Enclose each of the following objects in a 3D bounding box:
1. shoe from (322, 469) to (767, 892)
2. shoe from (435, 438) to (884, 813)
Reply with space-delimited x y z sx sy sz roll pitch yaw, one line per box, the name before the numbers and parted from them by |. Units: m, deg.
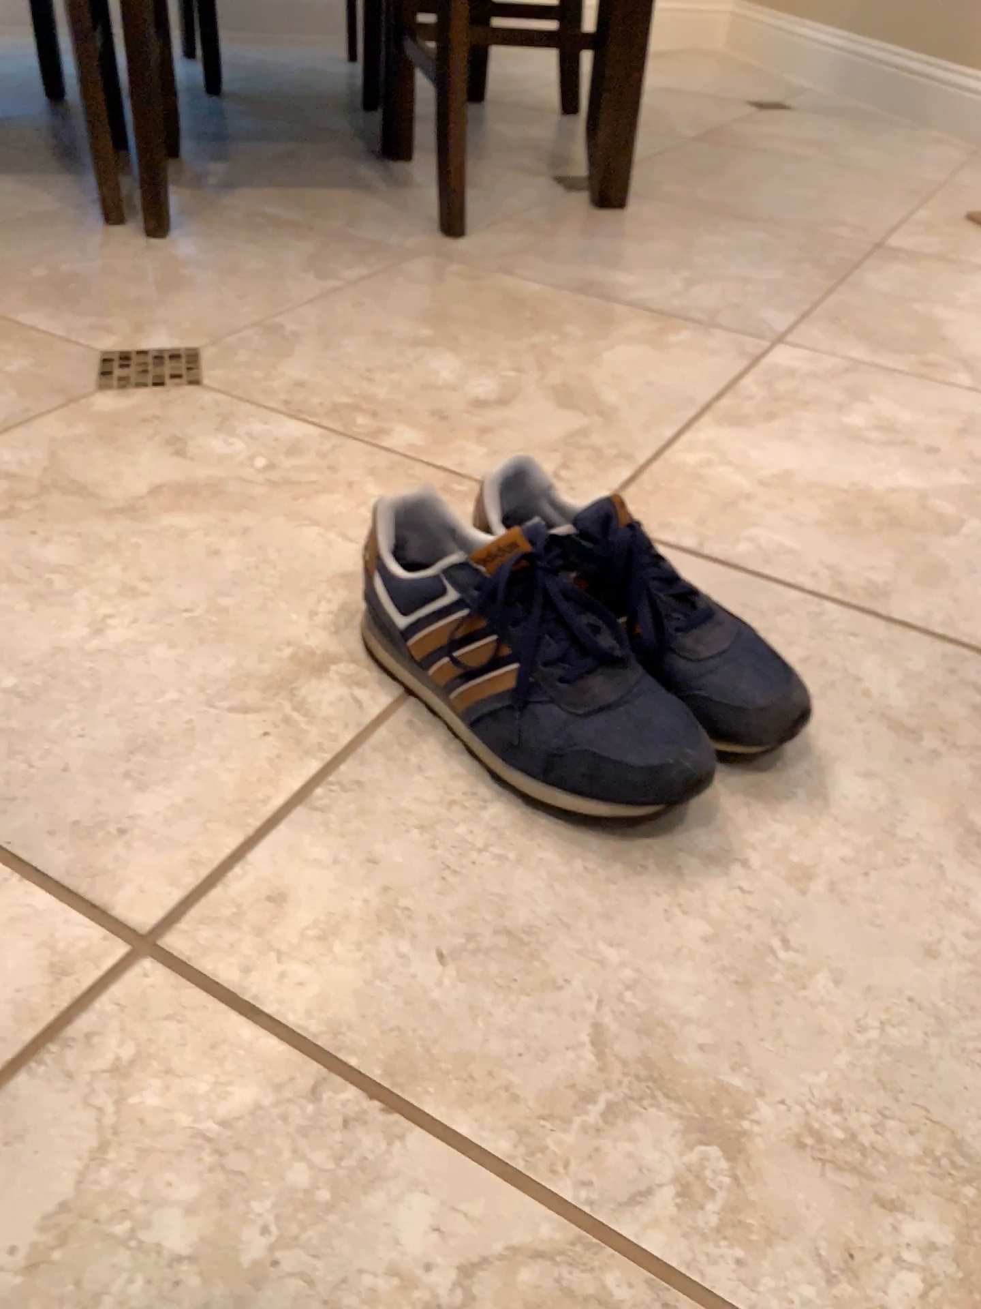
shoe | 0.017 -0.001 0.637 0.106 0.102 0.283 -24 46 -32
shoe | 0.098 -0.034 0.691 0.112 0.102 0.283 -28 48 -35
